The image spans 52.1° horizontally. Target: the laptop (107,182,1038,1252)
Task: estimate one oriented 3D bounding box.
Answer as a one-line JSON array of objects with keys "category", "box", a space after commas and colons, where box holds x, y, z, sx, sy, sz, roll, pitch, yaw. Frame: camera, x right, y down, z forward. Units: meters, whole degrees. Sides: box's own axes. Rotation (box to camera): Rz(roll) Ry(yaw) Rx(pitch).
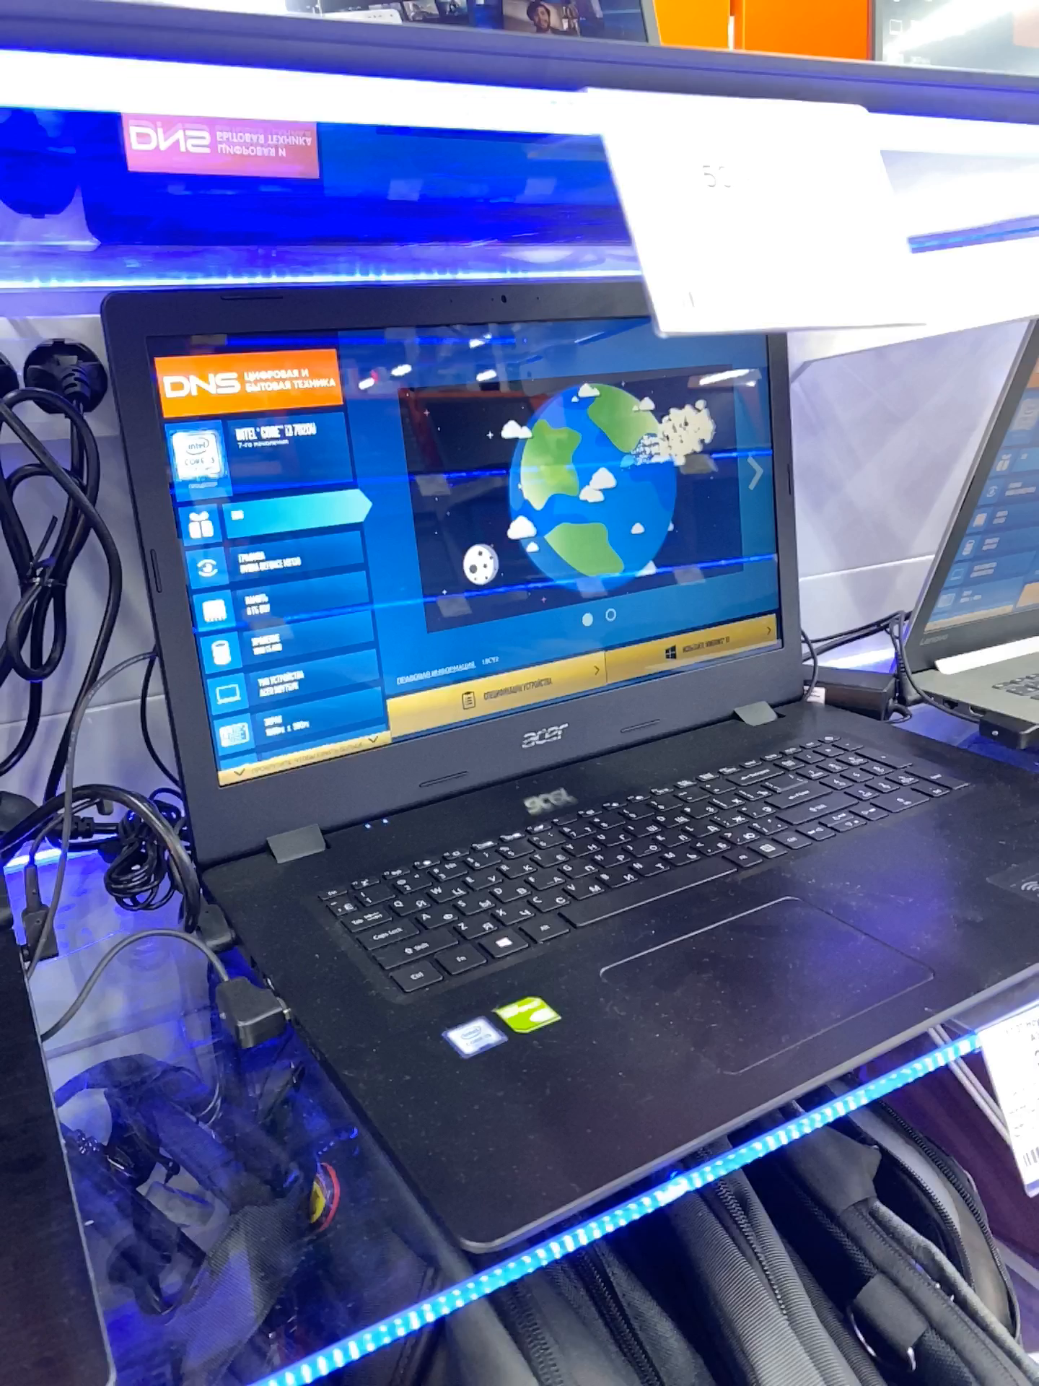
[{"category": "laptop", "box": [0.081, -0.055, 0.493, 0.422, 0.273, 0.328, -12, 19, -29]}]
